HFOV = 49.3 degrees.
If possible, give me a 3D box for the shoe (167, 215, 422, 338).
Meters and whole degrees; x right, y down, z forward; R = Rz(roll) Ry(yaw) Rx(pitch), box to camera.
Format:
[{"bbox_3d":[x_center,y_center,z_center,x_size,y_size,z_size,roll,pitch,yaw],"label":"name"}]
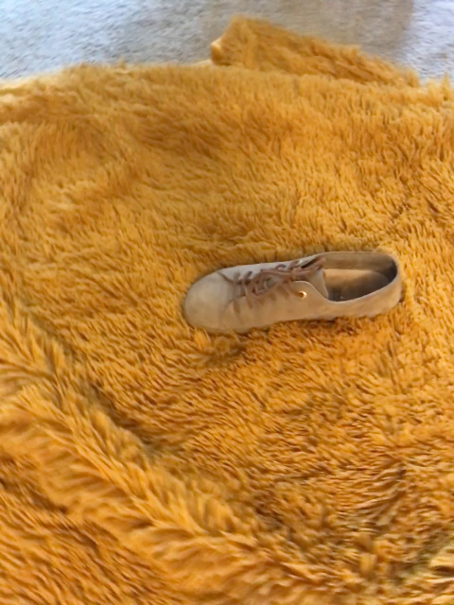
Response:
[{"bbox_3d":[0.067,-0.029,0.555,0.258,0.070,0.100,-4,59,0],"label":"shoe"}]
